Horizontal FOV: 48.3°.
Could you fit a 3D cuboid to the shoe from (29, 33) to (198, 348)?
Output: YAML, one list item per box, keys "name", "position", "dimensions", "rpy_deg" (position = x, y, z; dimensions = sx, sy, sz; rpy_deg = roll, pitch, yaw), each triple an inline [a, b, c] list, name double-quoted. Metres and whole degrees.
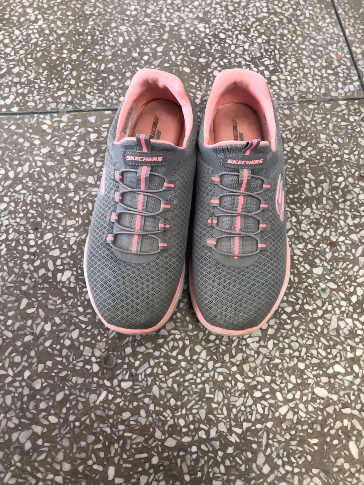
- name: "shoe"
  position: [-0.043, -0.048, 0.352]
  dimensions: [0.097, 0.095, 0.253]
  rpy_deg: [4, 66, 0]

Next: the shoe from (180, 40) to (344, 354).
- name: "shoe"
  position: [0.058, -0.040, 0.357]
  dimensions: [0.102, 0.108, 0.247]
  rpy_deg: [4, 66, 0]
